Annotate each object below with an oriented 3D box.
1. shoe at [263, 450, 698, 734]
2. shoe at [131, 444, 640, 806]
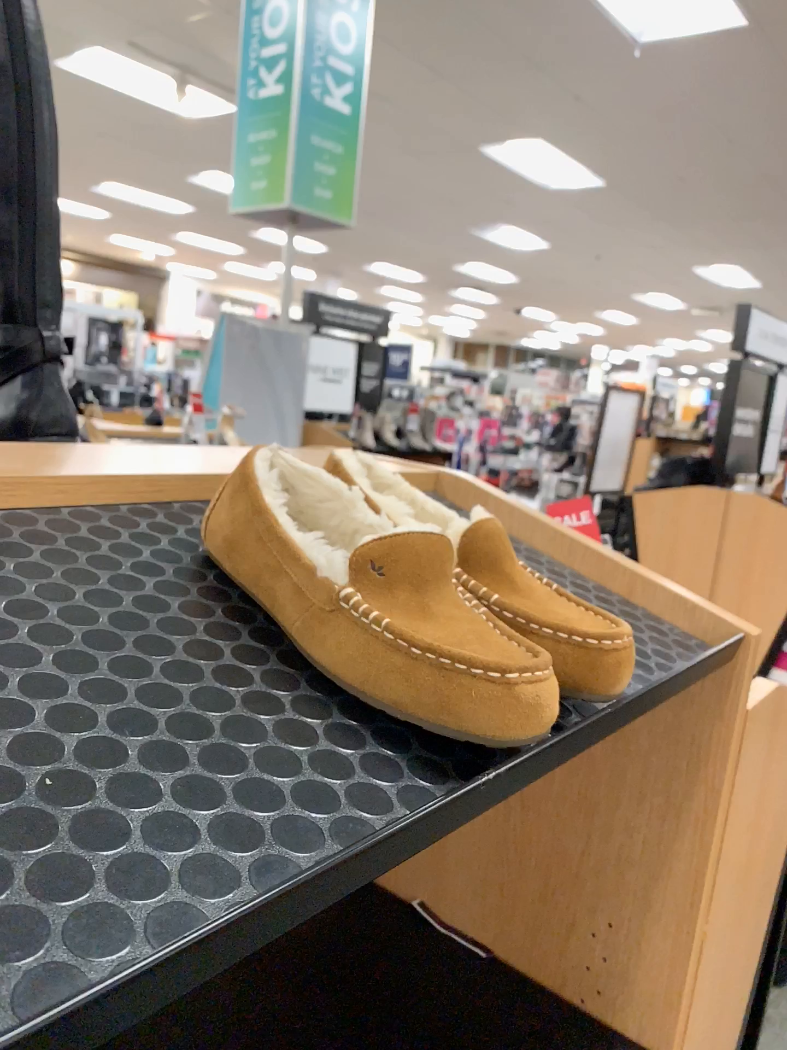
[{"bbox_3d":[0.041,0.024,0.497,0.251,0.060,0.090,27,20,35],"label":"shoe"},{"bbox_3d":[-0.020,0.030,0.430,0.271,0.060,0.090,27,20,35],"label":"shoe"}]
